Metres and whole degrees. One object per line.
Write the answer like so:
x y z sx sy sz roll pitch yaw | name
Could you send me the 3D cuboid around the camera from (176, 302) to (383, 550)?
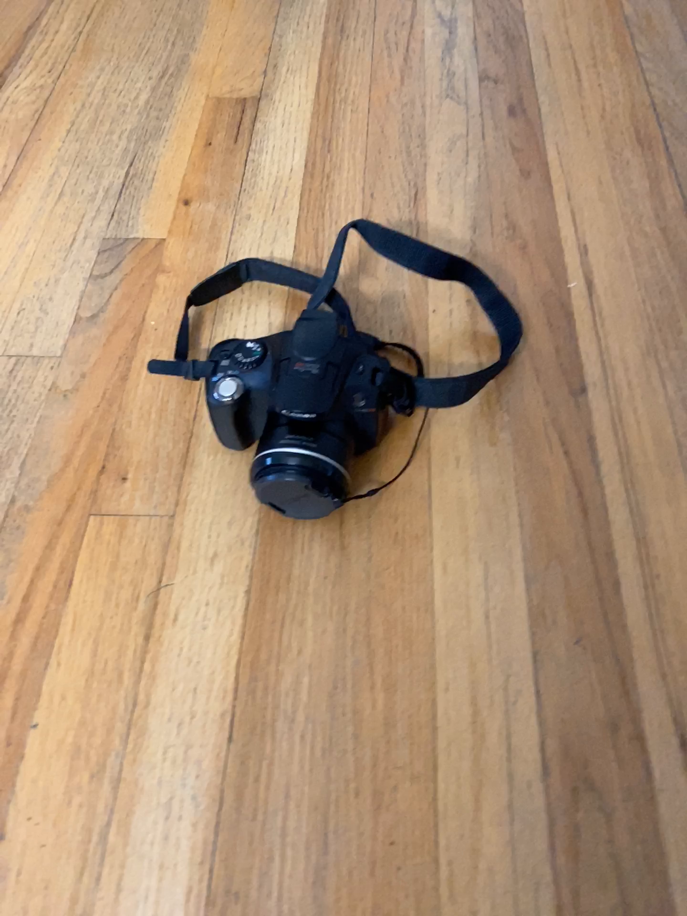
-0.033 -0.020 0.475 0.110 0.110 0.120 4 57 5 | camera
